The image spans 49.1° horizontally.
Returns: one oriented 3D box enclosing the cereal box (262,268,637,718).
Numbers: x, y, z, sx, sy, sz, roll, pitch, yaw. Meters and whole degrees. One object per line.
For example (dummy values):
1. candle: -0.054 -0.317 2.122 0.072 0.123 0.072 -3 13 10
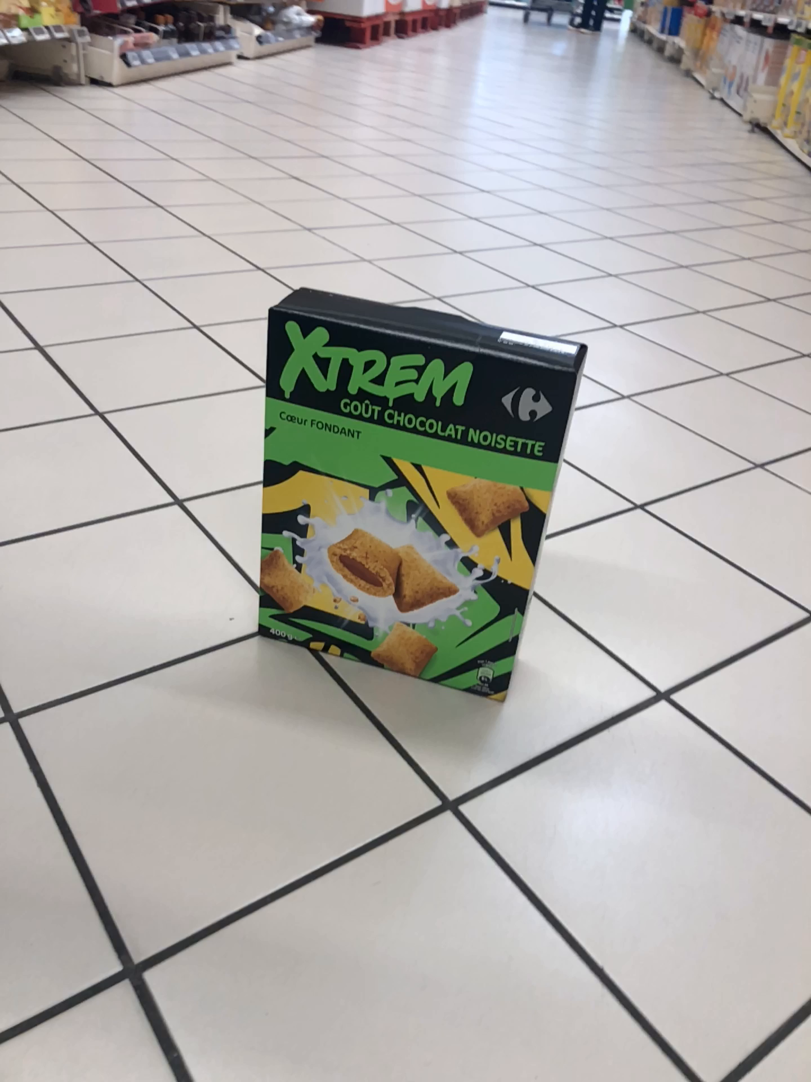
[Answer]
1. cereal box: 0.019 -0.030 0.584 0.200 0.238 0.091 15 32 12
